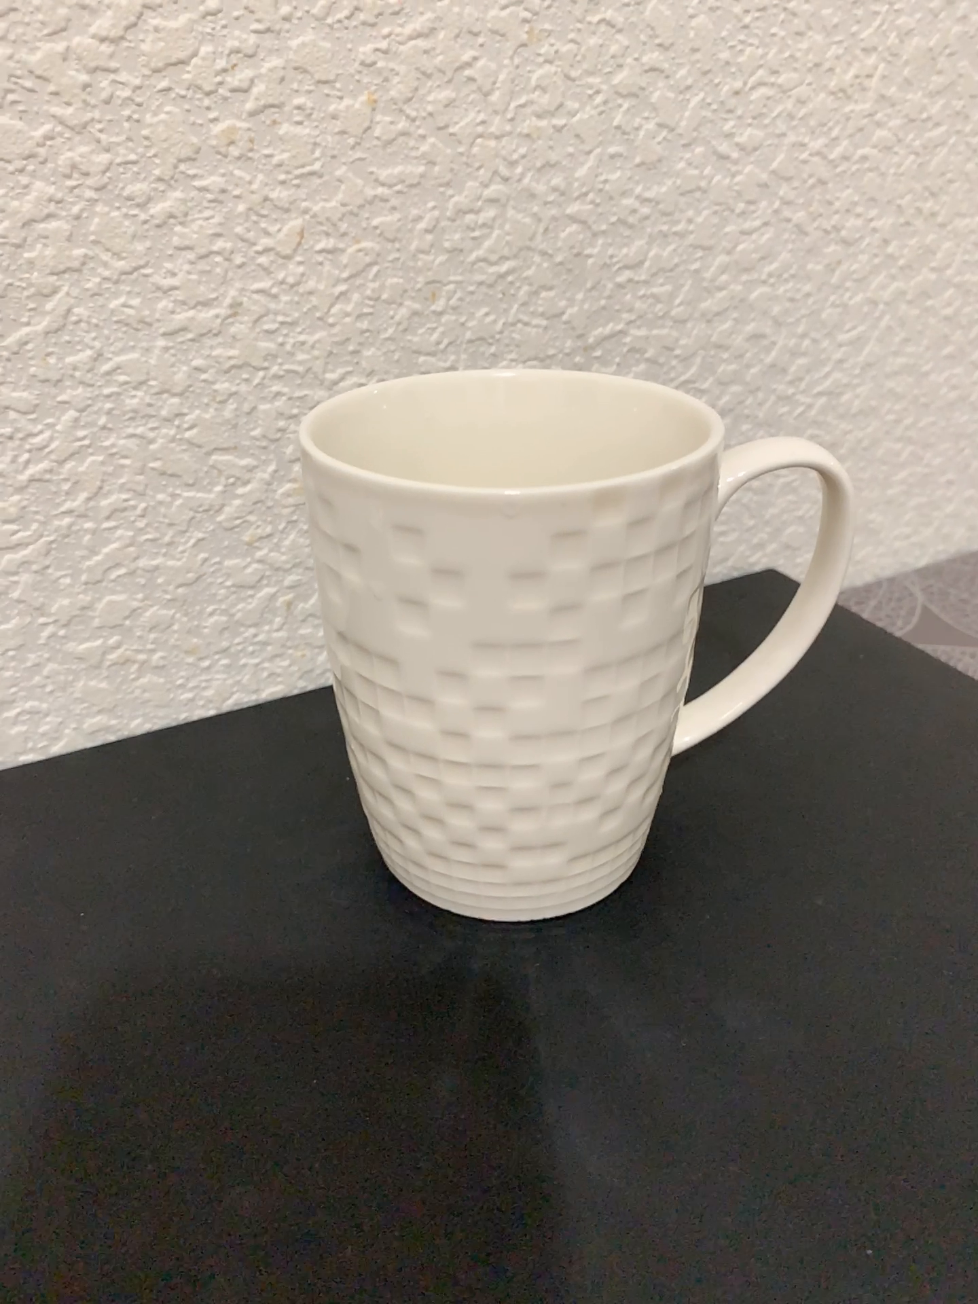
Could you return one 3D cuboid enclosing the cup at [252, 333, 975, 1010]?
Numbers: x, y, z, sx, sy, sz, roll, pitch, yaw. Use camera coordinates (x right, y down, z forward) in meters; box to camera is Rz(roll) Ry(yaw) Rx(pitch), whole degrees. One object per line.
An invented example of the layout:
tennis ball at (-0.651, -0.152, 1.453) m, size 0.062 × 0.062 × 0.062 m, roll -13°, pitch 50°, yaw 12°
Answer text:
cup at (0.020, -0.004, 0.229) m, size 0.119 × 0.105 × 0.082 m, roll -11°, pitch 32°, yaw -18°
